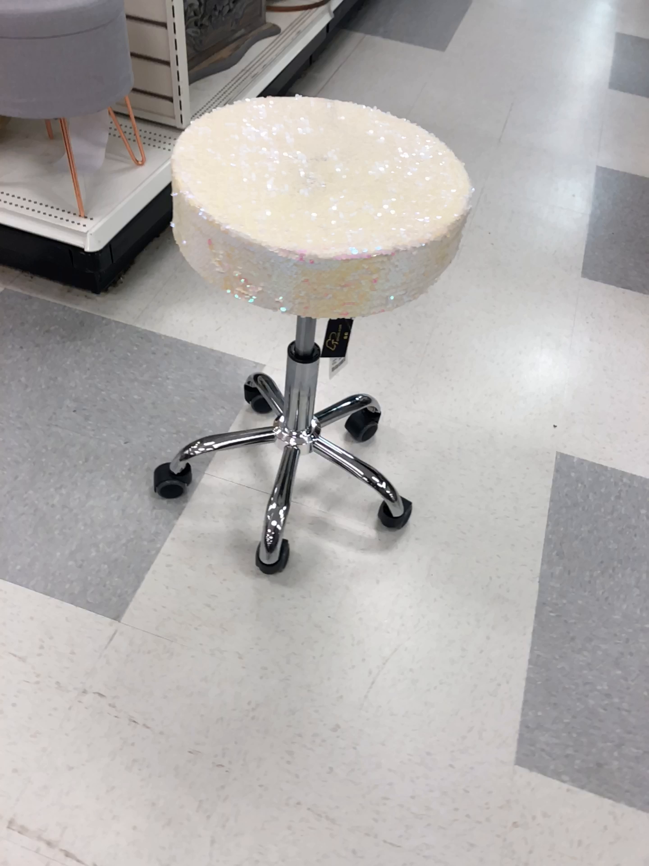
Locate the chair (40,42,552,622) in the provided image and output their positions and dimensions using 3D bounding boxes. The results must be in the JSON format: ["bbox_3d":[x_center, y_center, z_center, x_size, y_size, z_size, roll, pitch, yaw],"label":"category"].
[{"bbox_3d":[-0.017,-0.129,1.031,0.465,0.591,0.439,16,49,8],"label":"chair"}]

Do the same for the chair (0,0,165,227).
[{"bbox_3d":[-0.522,-0.664,1.321,0.305,0.382,0.308,16,49,8],"label":"chair"}]
